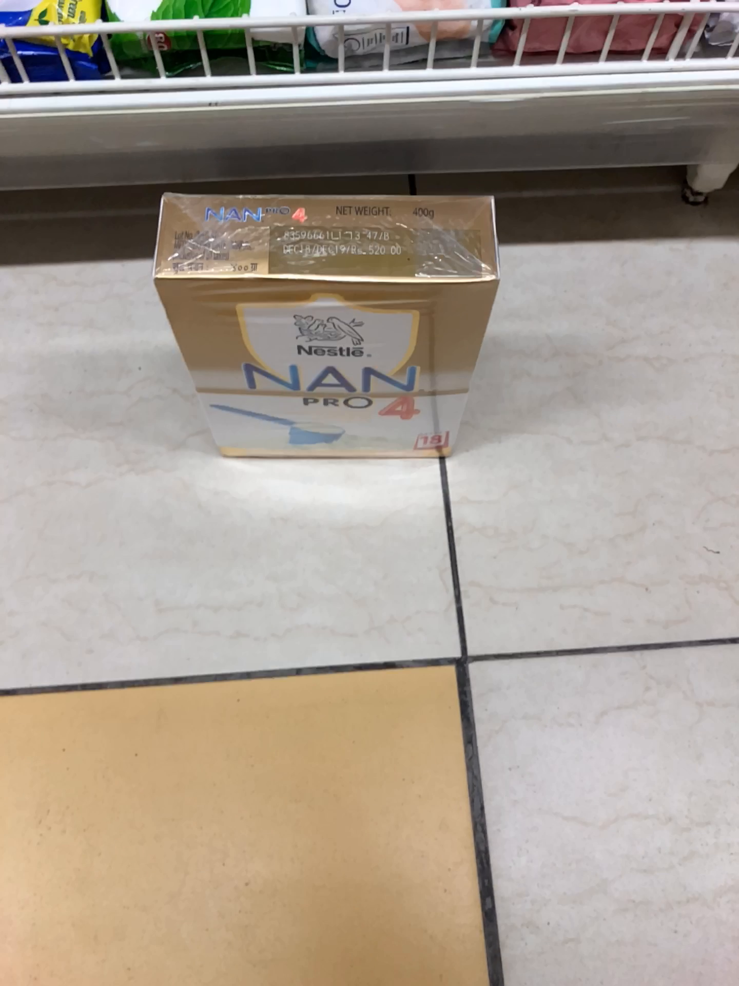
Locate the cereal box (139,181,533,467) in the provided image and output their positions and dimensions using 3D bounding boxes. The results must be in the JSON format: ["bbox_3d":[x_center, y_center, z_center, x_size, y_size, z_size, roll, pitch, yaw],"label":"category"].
[{"bbox_3d":[-0.016,-0.075,0.431,0.160,0.189,0.050,0,68,-2],"label":"cereal box"}]
